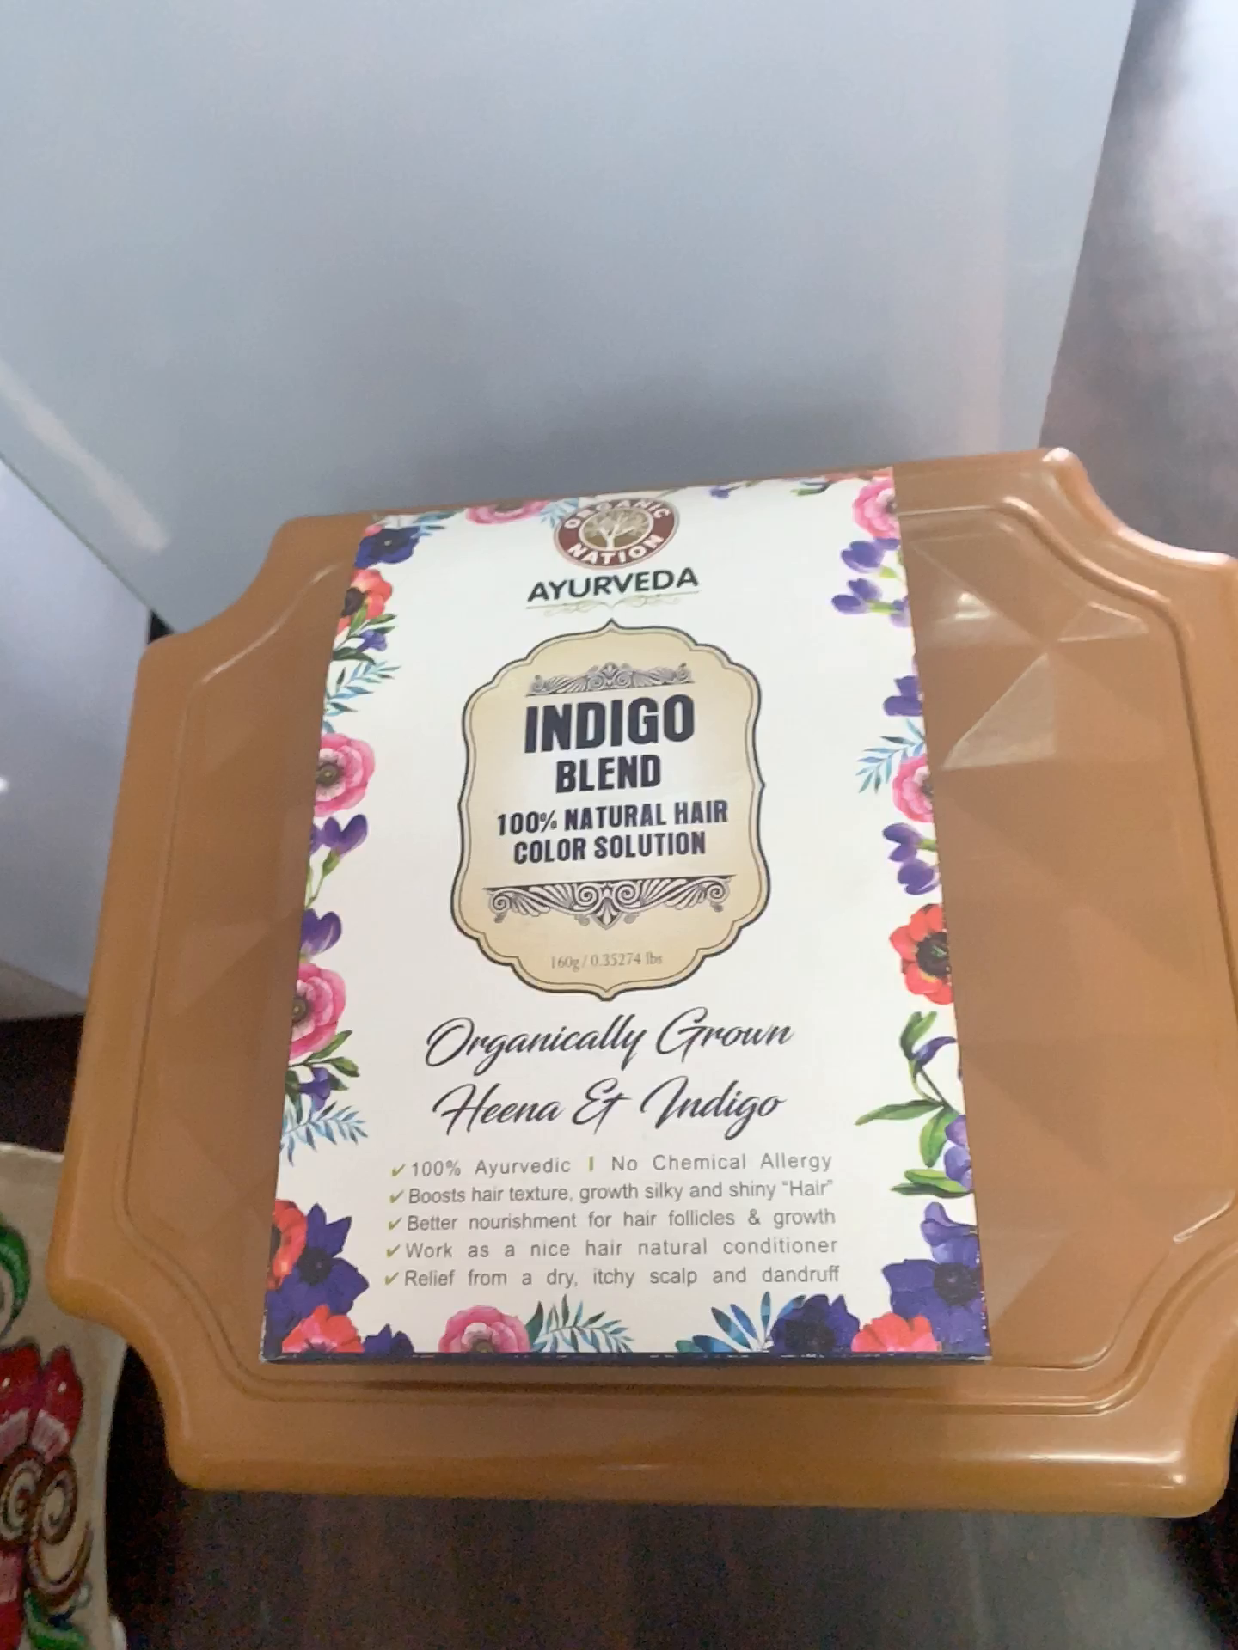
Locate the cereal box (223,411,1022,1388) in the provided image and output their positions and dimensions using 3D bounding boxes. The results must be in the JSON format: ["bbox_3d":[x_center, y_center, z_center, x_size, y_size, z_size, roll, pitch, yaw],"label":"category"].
[{"bbox_3d":[0.003,0.017,0.291,0.140,0.070,0.200,-4,67,9],"label":"cereal box"}]
